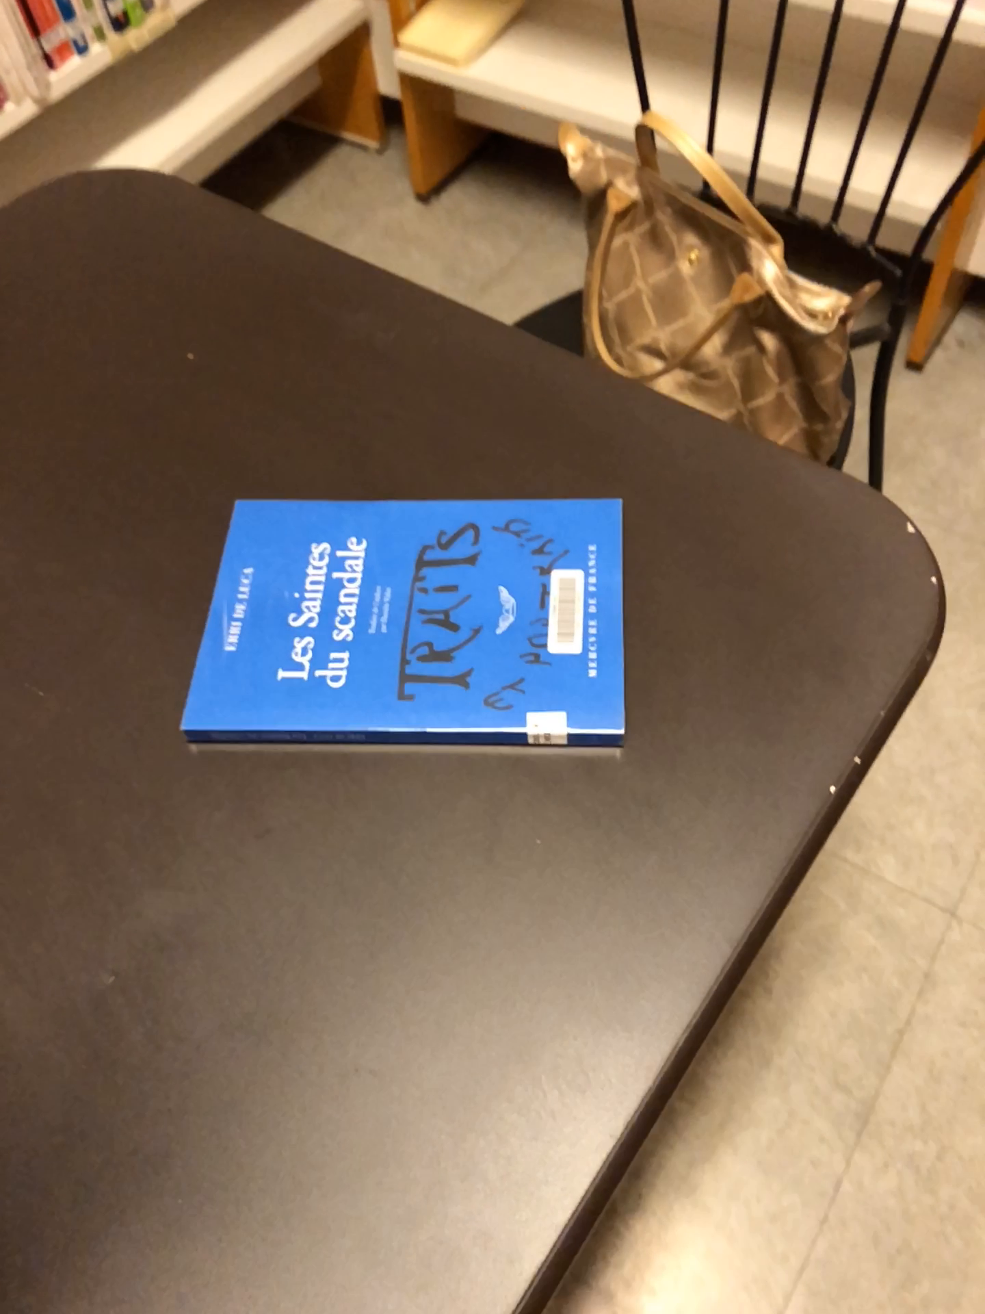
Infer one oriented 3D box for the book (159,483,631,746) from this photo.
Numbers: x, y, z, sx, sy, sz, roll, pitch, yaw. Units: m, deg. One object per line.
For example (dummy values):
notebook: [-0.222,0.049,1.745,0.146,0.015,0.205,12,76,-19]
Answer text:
book: [-0.042,-0.024,0.536,0.215,0.017,0.145,-1,56,5]
